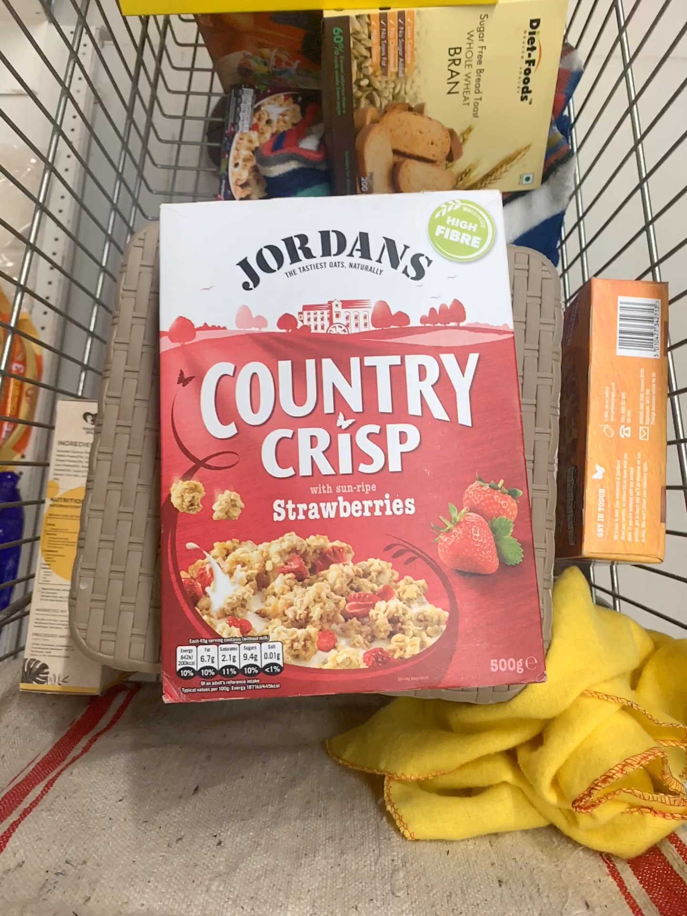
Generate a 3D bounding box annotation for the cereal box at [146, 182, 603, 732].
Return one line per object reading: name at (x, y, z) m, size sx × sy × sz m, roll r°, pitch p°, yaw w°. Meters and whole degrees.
cereal box at (0.007, -0.003, 0.335) m, size 0.180 × 0.070 × 0.230 m, roll -3°, pitch 78°, yaw 0°
